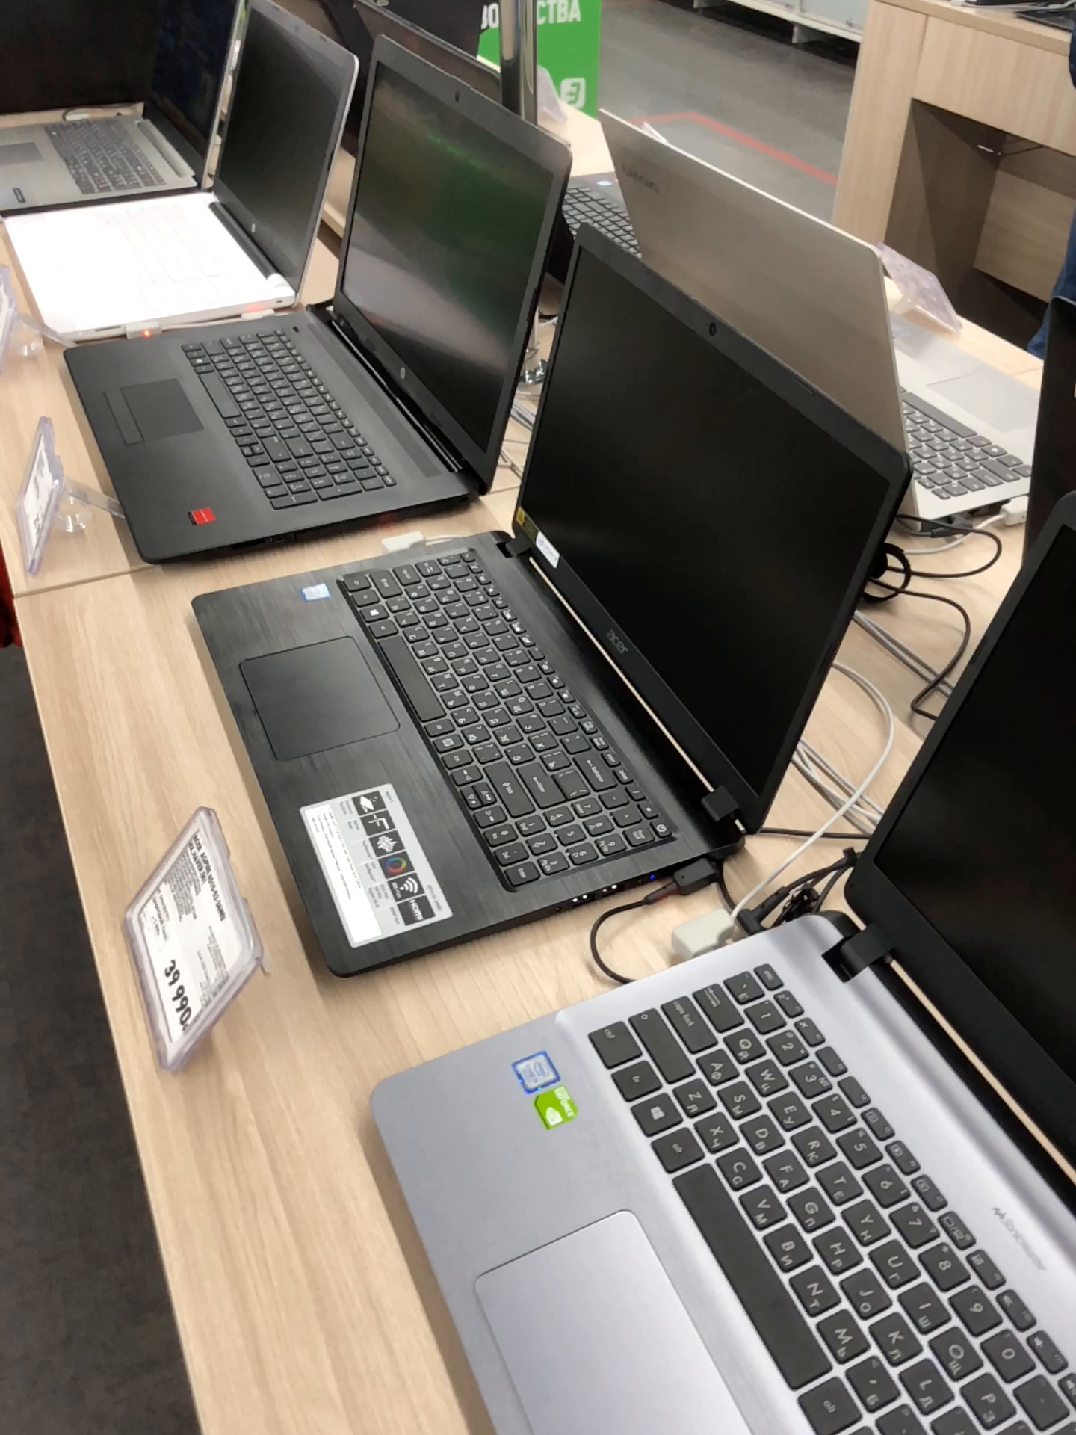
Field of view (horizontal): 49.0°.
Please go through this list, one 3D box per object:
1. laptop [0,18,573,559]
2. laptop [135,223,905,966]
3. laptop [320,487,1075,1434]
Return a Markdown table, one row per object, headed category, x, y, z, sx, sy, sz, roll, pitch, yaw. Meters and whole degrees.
| category | x | y | z | sx | sy | sz | roll | pitch | yaw |
| --- | --- | --- | --- | --- | --- | --- | --- | --- | --- |
| laptop | -0.206 | -0.373 | 0.963 | 0.345 | 0.226 | 0.355 | -20 | 47 | -20 |
| laptop | -0.035 | -0.101 | 0.684 | 0.291 | 0.219 | 0.347 | -15 | 43 | -18 |
| laptop | 0.139 | 0.132 | 0.385 | 0.324 | 0.218 | 0.328 | -17 | 42 | -16 |
